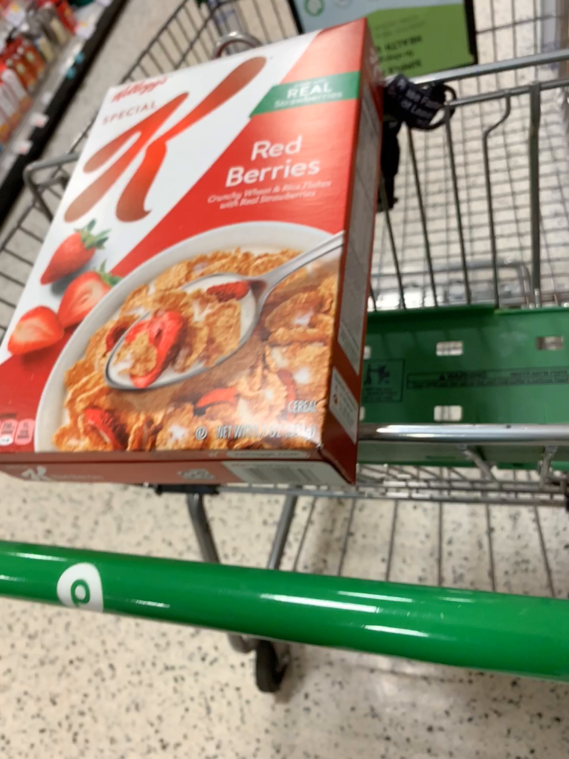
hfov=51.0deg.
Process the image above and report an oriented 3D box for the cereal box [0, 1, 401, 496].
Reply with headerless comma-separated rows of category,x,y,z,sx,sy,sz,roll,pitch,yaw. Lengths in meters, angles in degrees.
cereal box,-0.042,-0.083,0.354,0.200,0.060,0.292,-3,60,21
